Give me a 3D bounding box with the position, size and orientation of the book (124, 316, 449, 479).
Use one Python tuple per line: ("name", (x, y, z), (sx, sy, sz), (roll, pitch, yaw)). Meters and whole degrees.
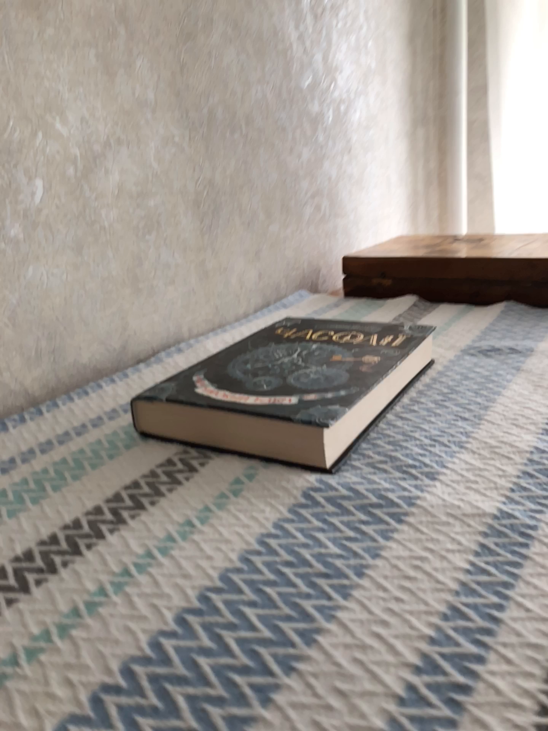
("book", (0.025, 0.008, 0.503), (0.178, 0.032, 0.238), (6, 21, 31))
